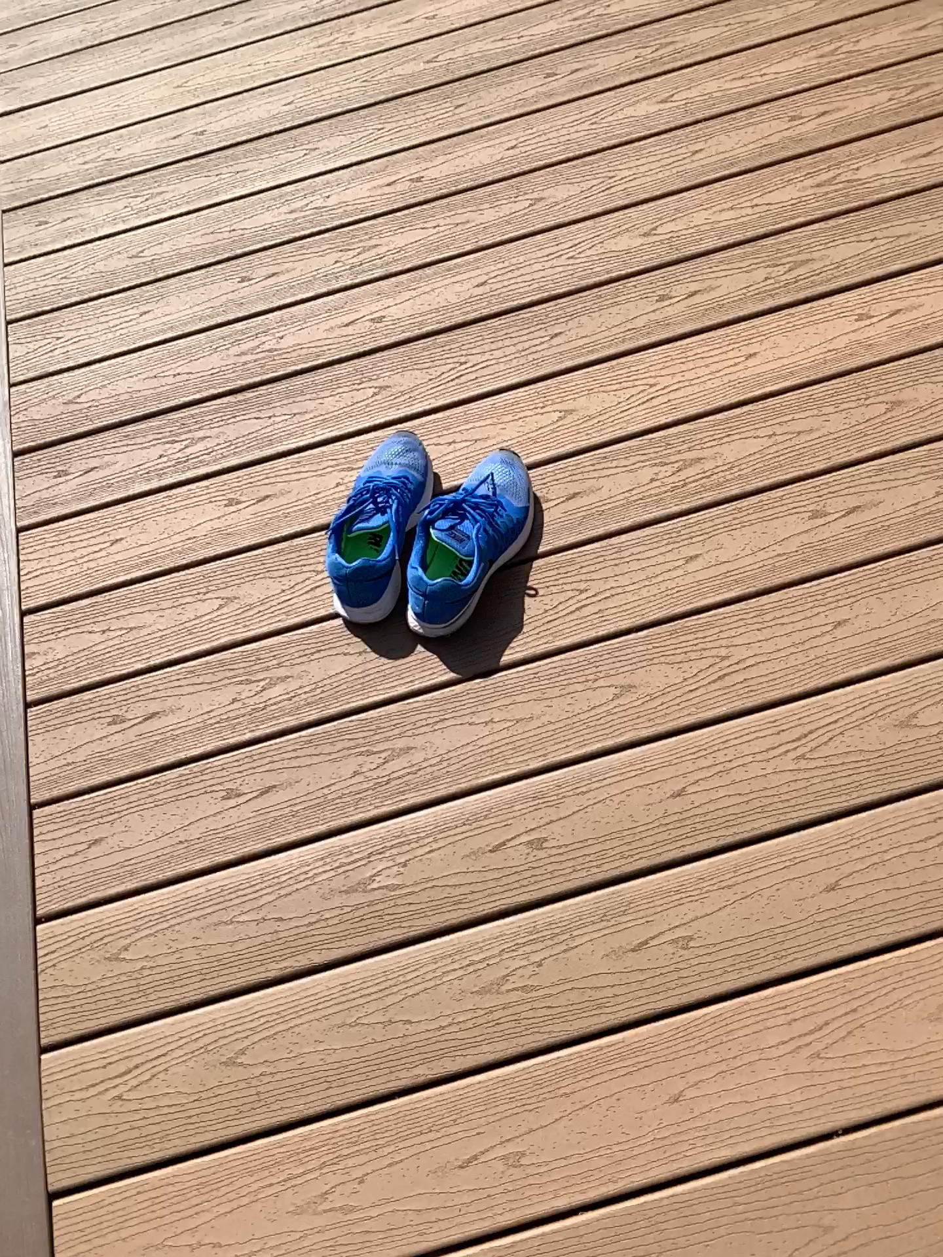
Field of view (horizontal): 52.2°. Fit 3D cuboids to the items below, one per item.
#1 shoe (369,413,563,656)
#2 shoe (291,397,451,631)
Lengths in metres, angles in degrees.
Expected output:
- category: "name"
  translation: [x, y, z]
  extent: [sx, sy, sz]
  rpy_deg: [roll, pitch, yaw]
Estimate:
- category: "shoe"
  translation: [0.001, -0.128, 1.276]
  extent: [0.120, 0.105, 0.290]
  rpy_deg: [23, 68, 19]
- category: "shoe"
  translation: [-0.129, -0.160, 1.307]
  extent: [0.120, 0.103, 0.298]
  rpy_deg: [9, 64, 13]
